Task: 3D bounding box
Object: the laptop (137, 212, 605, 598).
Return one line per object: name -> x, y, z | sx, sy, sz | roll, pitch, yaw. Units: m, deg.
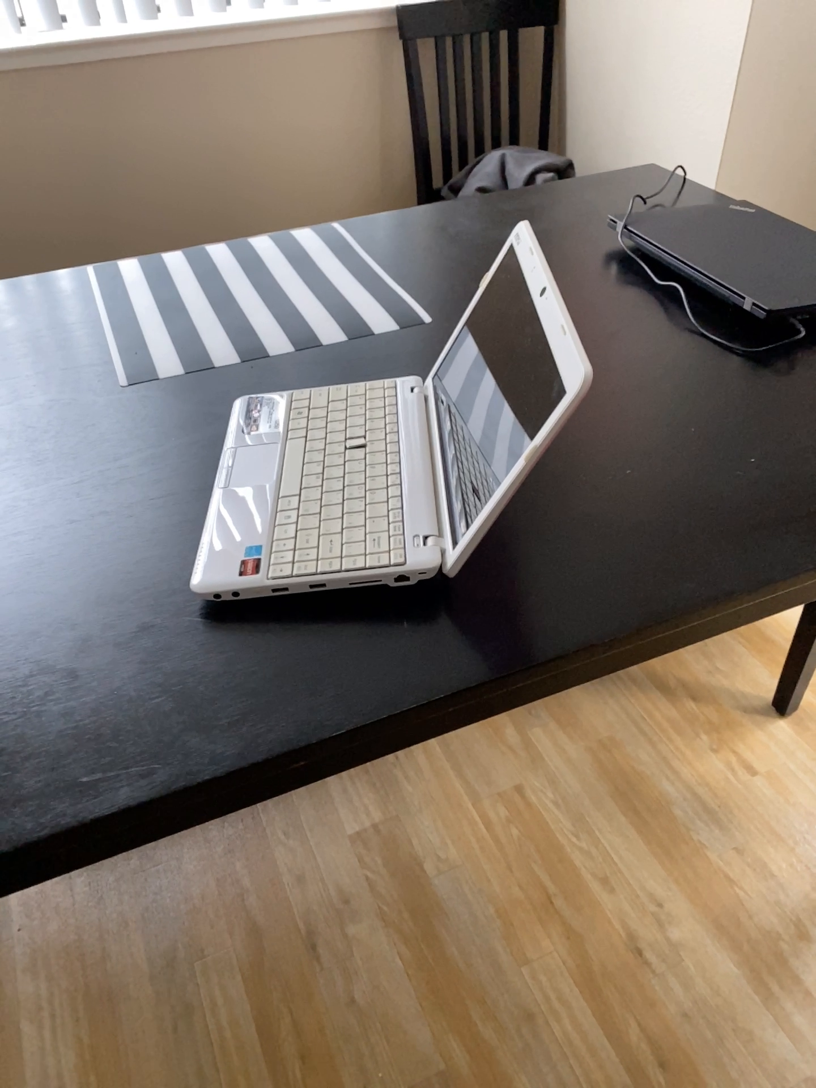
laptop -> -0.028, -0.130, 0.691 | 0.301, 0.153, 0.296 | -6, 40, 2
